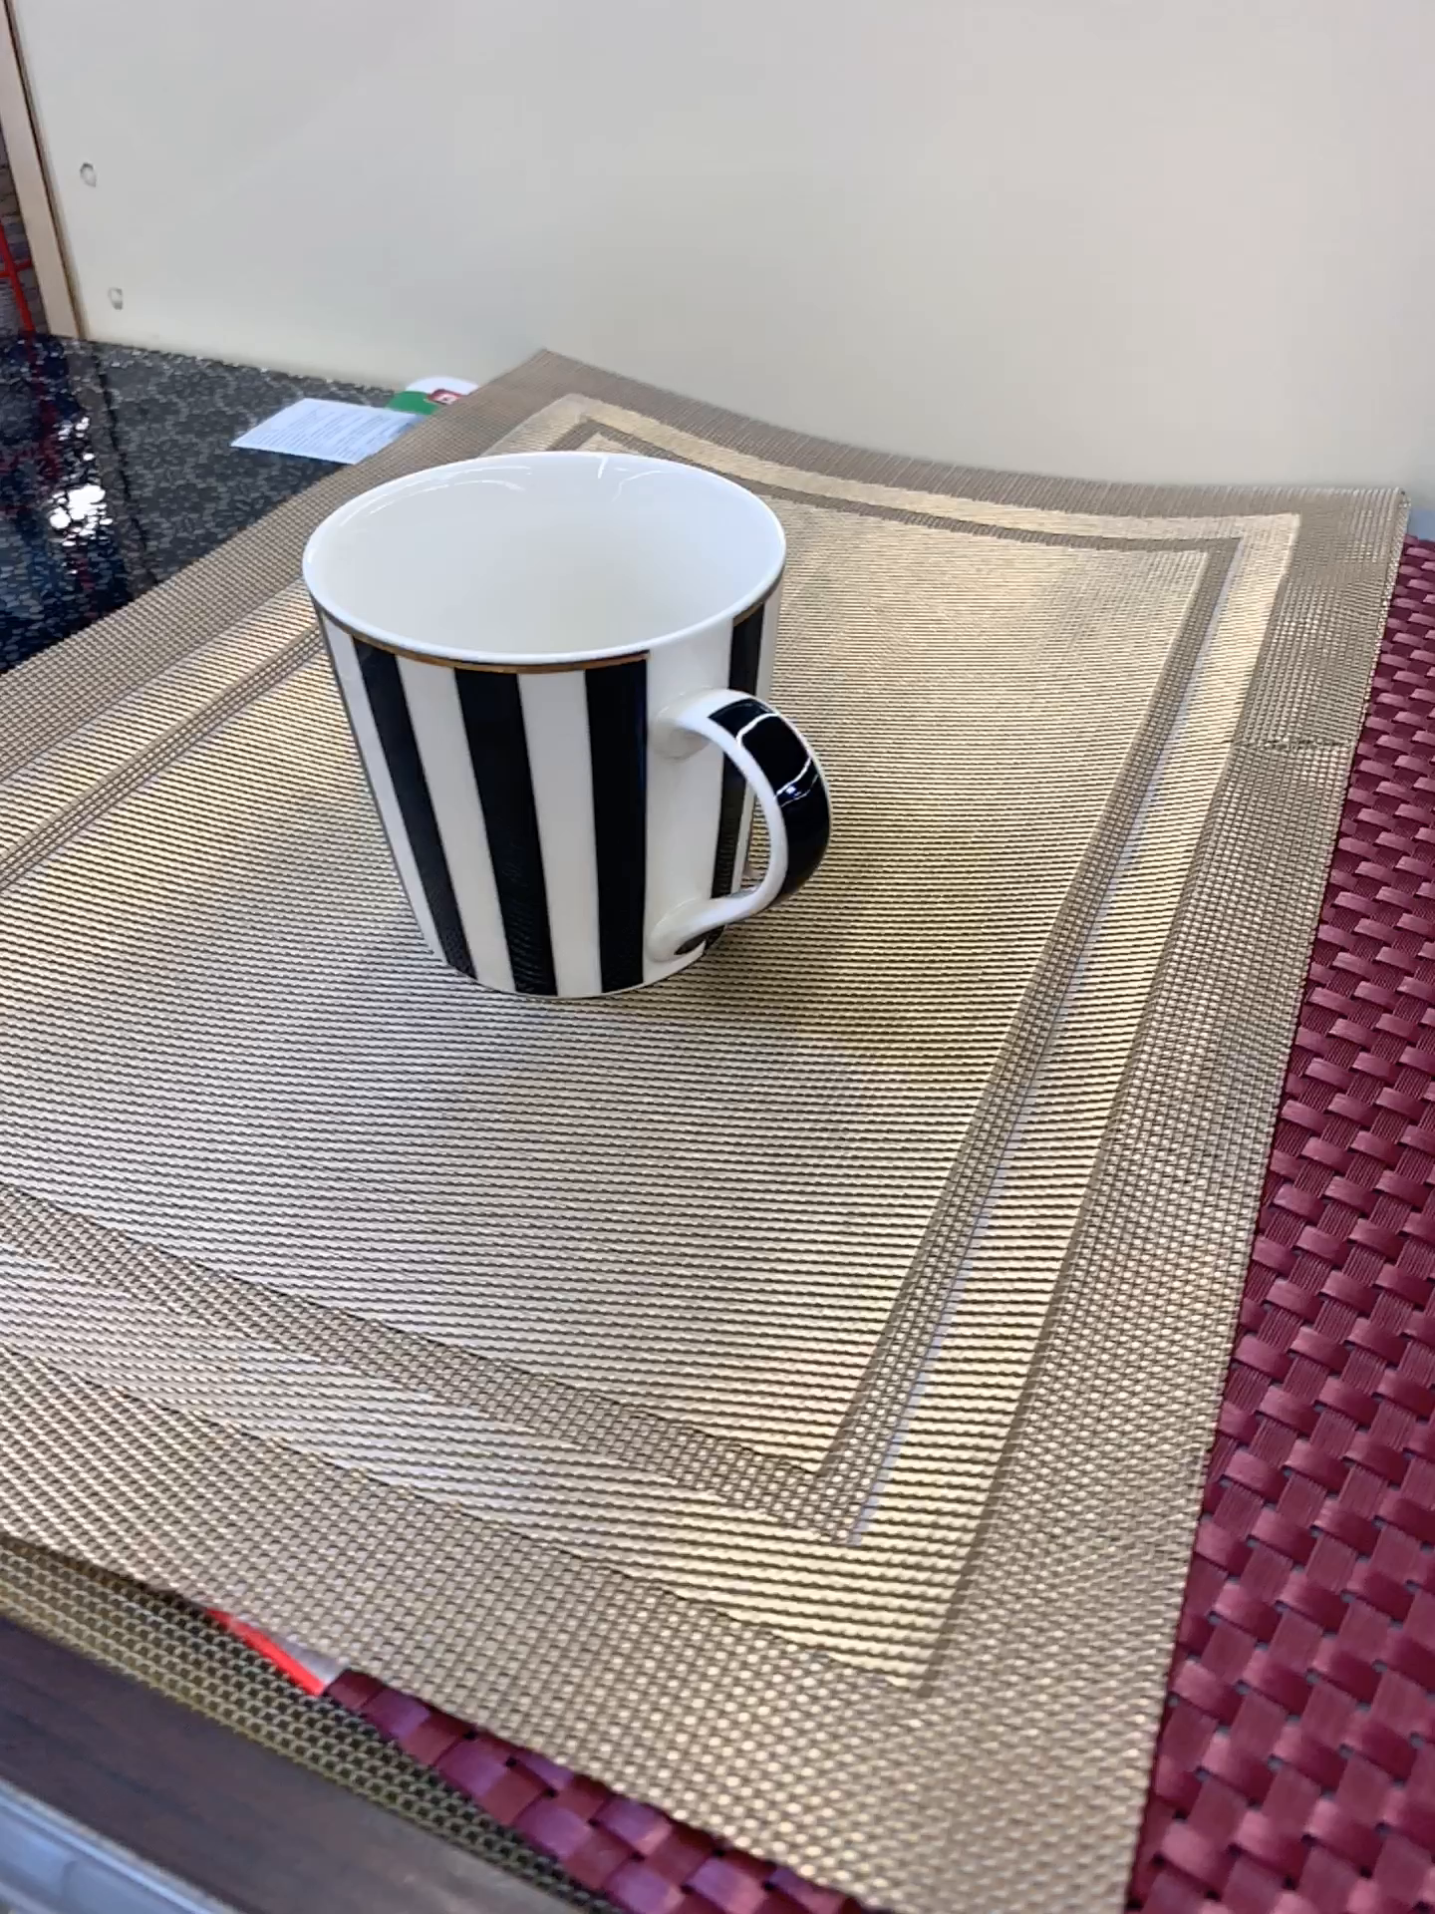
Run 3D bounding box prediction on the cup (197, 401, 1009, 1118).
[{"bbox_3d":[-0.027,-0.052,0.312,0.100,0.080,0.130,-26,44,-31],"label":"cup"}]
